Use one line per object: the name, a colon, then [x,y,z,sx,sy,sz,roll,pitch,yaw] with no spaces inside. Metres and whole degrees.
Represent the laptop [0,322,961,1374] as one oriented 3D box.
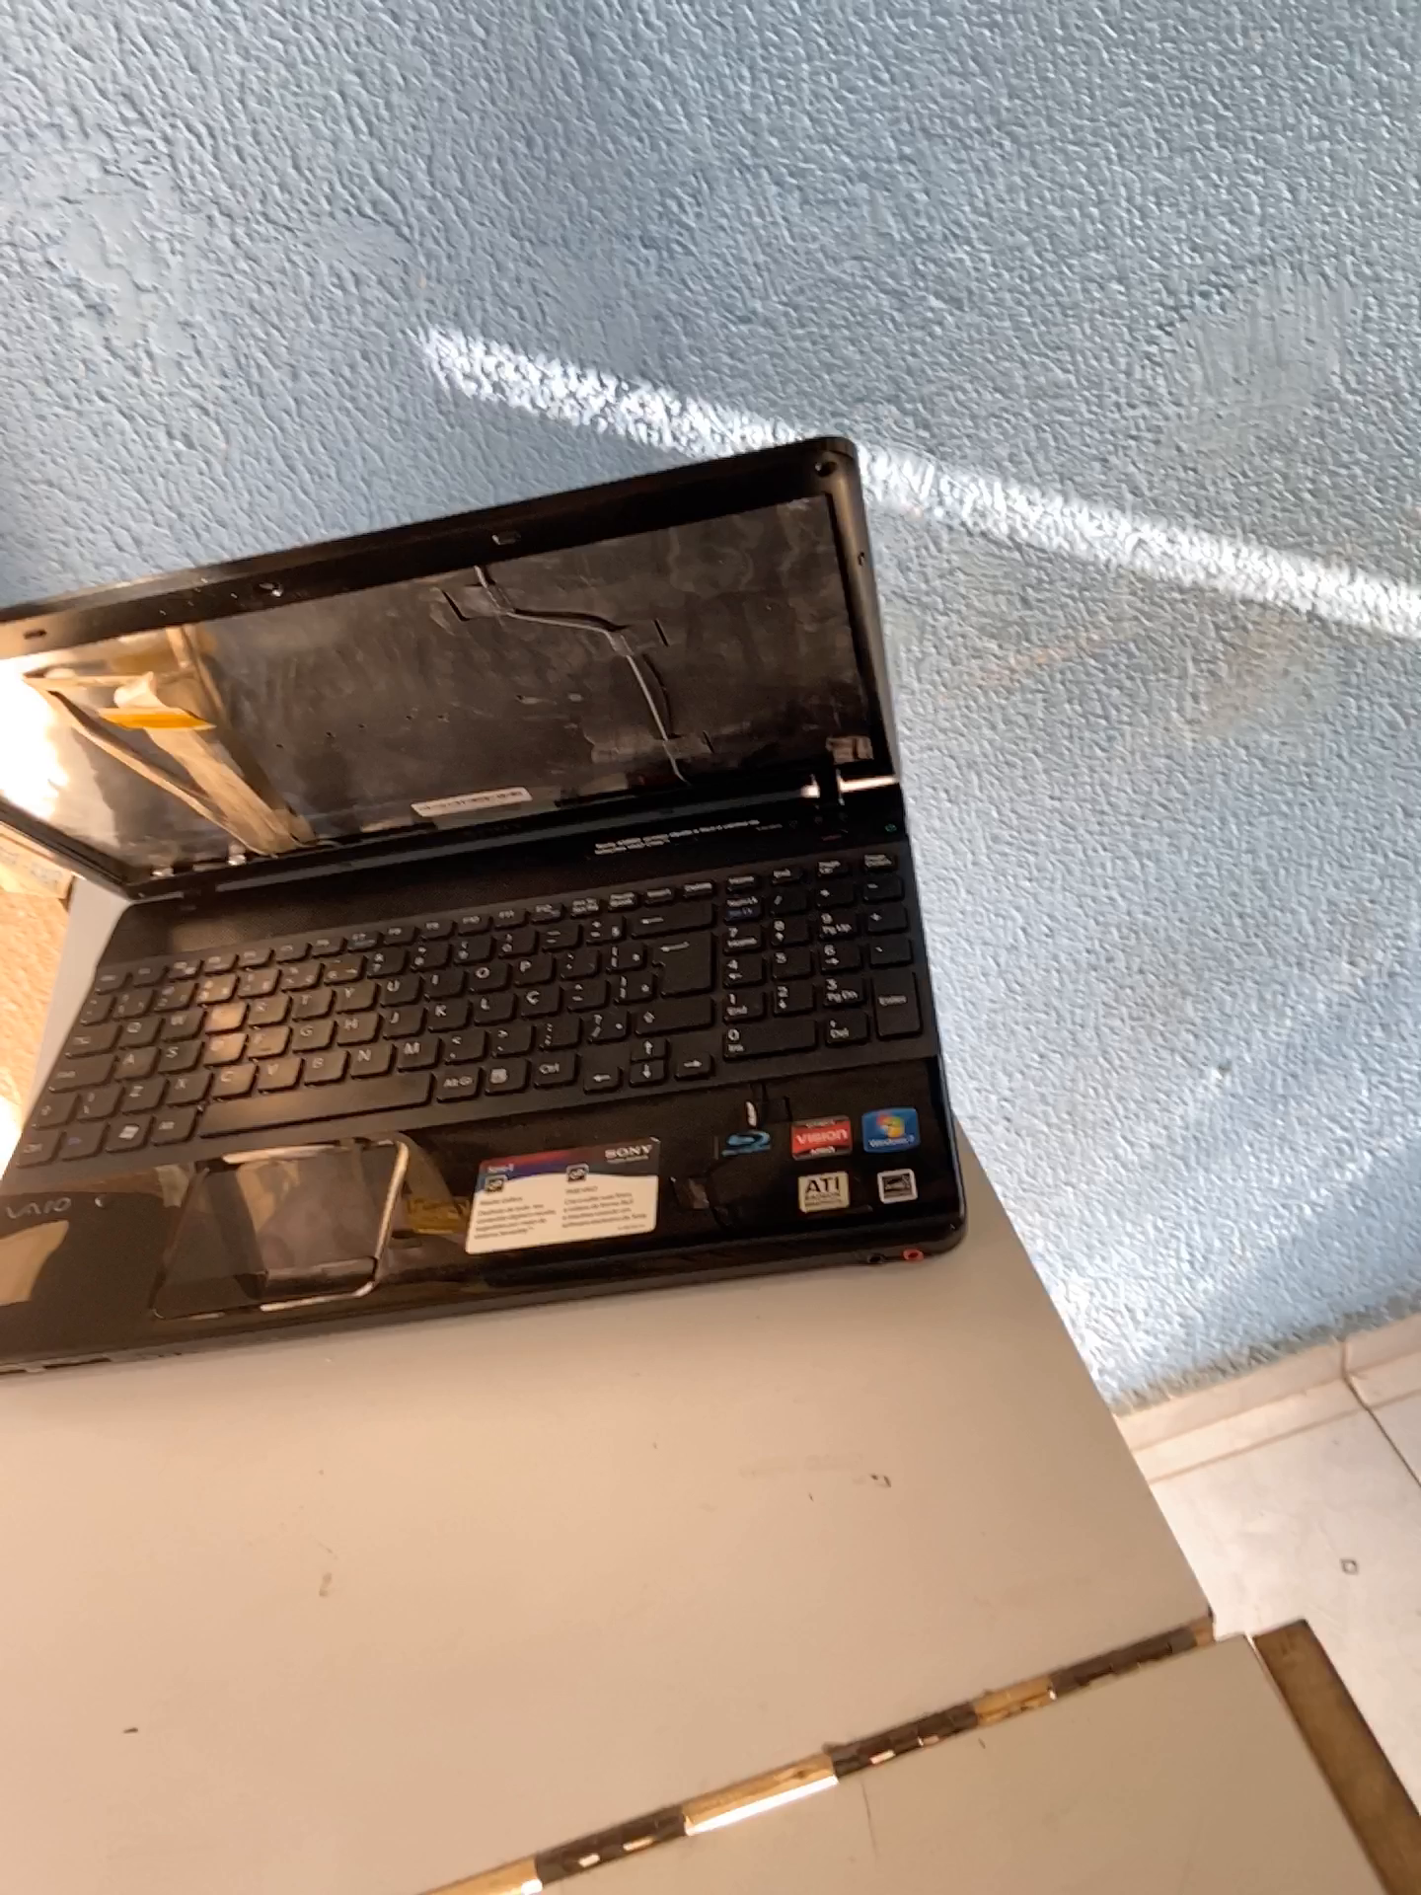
laptop: [-0.120,-0.036,0.509,0.364,0.193,0.243,-9,40,9]
